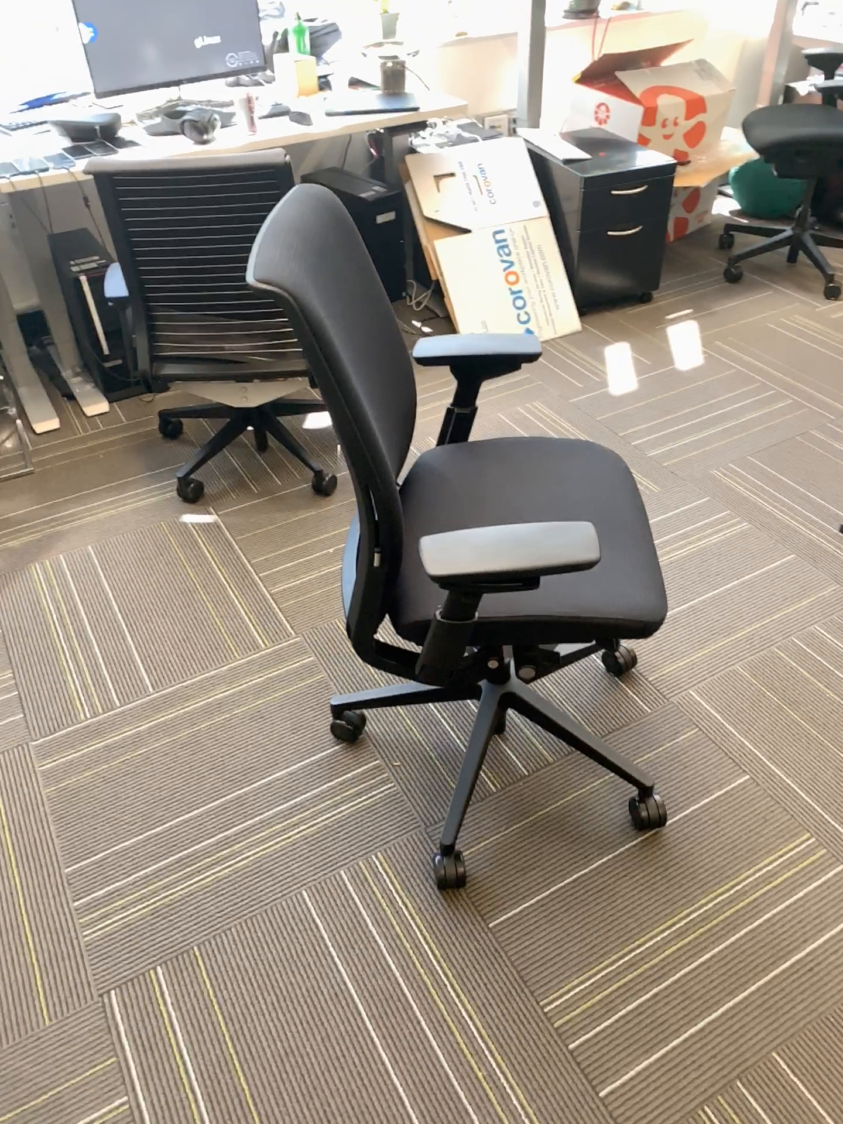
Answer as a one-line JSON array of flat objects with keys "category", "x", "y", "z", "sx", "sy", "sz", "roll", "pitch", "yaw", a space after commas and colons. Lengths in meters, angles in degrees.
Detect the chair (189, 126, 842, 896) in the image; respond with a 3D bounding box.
[{"category": "chair", "x": 0.120, "y": -0.072, "z": 1.426, "sx": 0.670, "sy": 0.994, "sz": 0.755, "roll": -2, "pitch": 40, "yaw": 0}]
